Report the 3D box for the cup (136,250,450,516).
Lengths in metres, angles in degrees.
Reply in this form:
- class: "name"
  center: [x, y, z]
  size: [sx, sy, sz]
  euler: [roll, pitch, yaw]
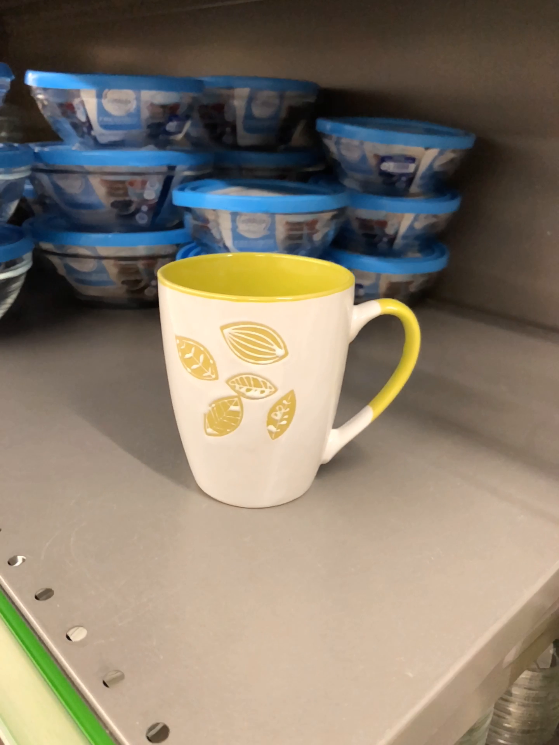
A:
- class: "cup"
  center: [-0.002, -0.003, 0.304]
  size: [0.126, 0.095, 0.094]
  euler: [-2, 22, -10]
